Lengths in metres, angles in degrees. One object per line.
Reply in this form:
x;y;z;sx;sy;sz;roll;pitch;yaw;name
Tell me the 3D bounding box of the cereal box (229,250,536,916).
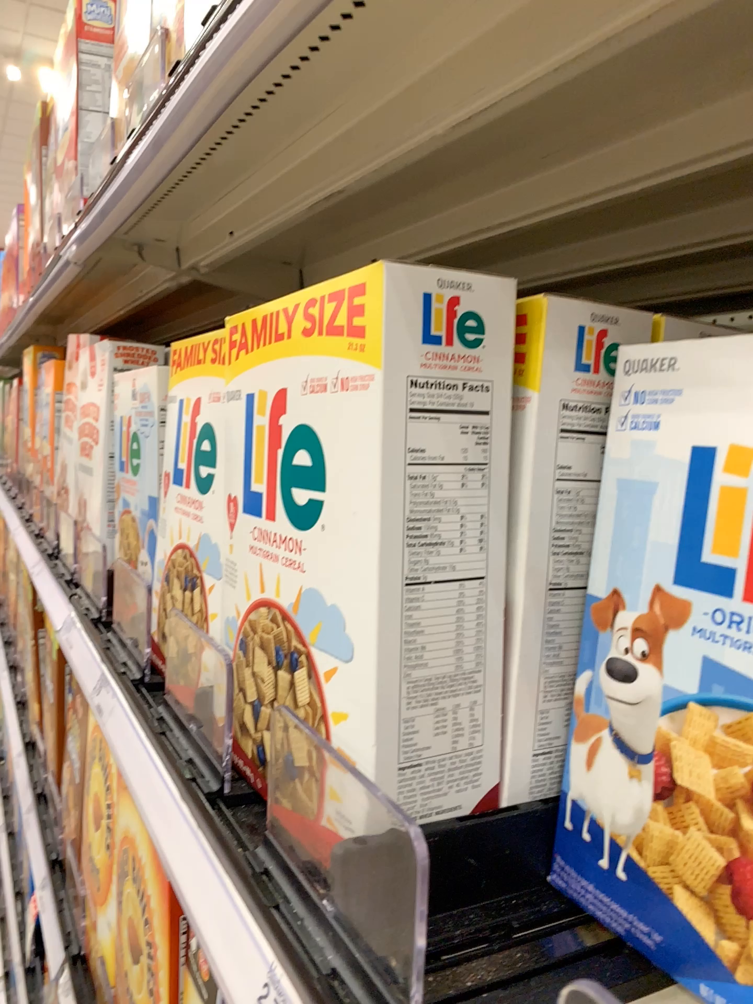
-0.012;0.027;0.401;0.070;0.260;0.190;1;4;-27;cereal box
